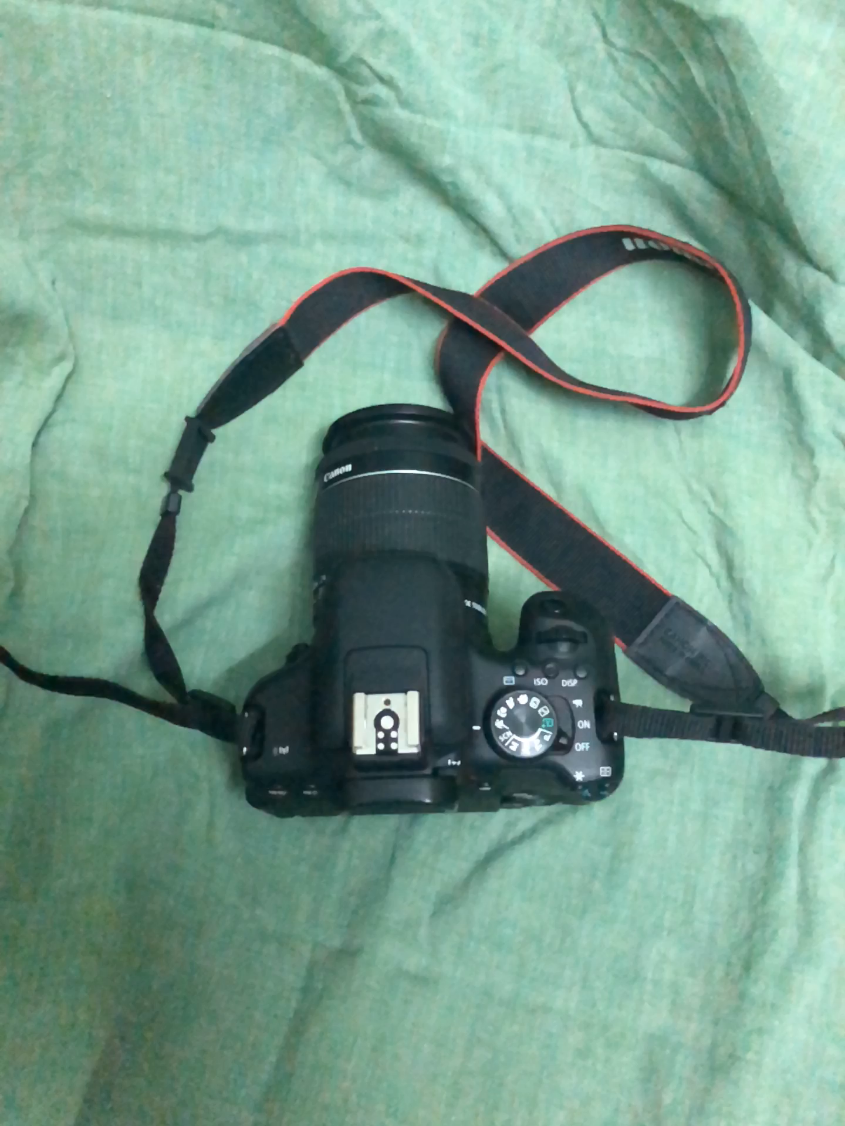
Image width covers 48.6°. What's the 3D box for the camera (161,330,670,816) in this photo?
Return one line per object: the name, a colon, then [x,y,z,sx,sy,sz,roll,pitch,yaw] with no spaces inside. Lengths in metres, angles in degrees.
camera: [-0.005,0.009,0.330,0.142,0.100,0.144,-2,72,-2]
